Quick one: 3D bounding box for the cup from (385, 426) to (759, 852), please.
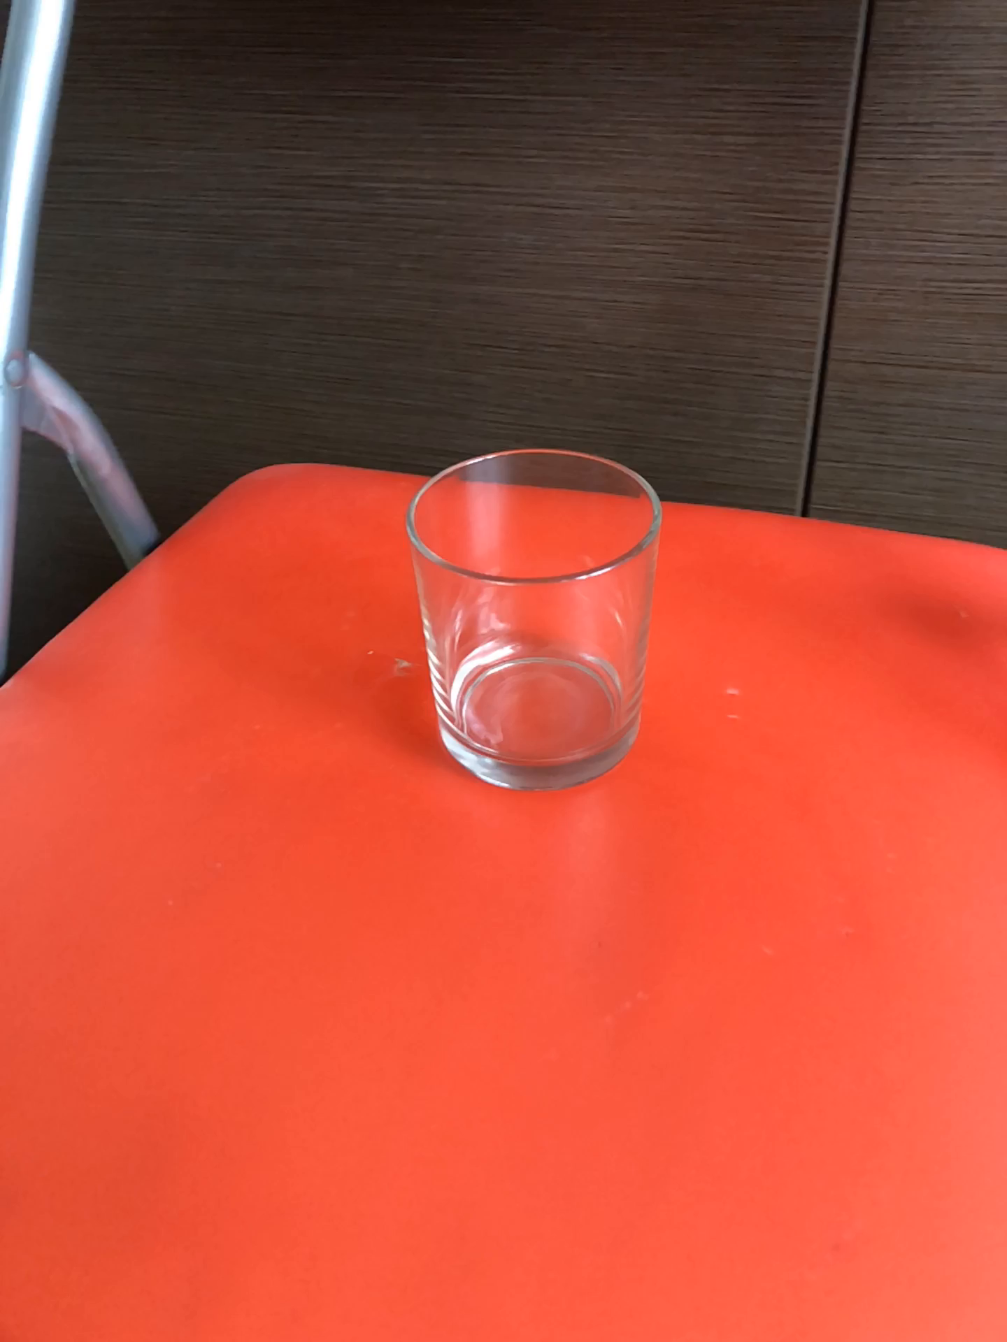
[{"bbox_3d":[0.017,-0.013,0.335,0.077,0.082,0.081,-1,37,1],"label":"cup"}]
